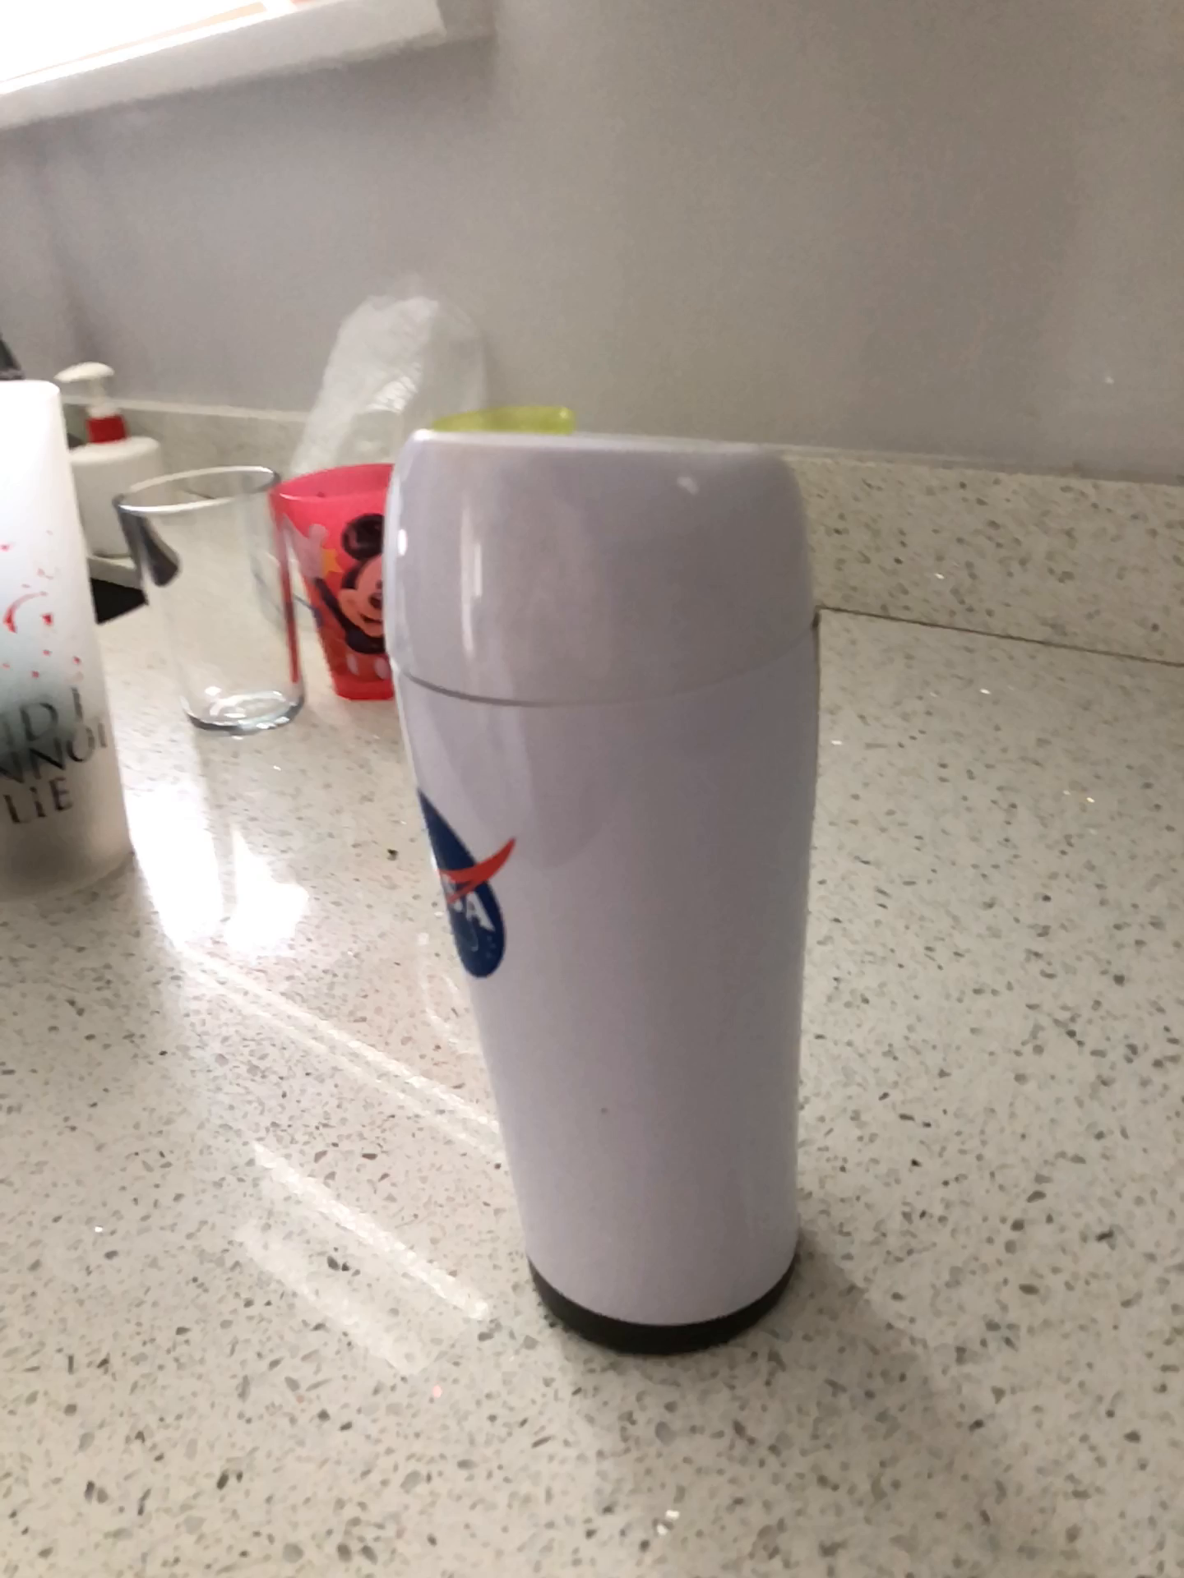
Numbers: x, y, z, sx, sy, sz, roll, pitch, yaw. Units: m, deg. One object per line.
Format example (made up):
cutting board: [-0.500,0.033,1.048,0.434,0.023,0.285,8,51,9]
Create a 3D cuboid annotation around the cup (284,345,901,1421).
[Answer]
cup: [0.004,0.016,0.258,0.080,0.182,0.078,-5,25,3]
